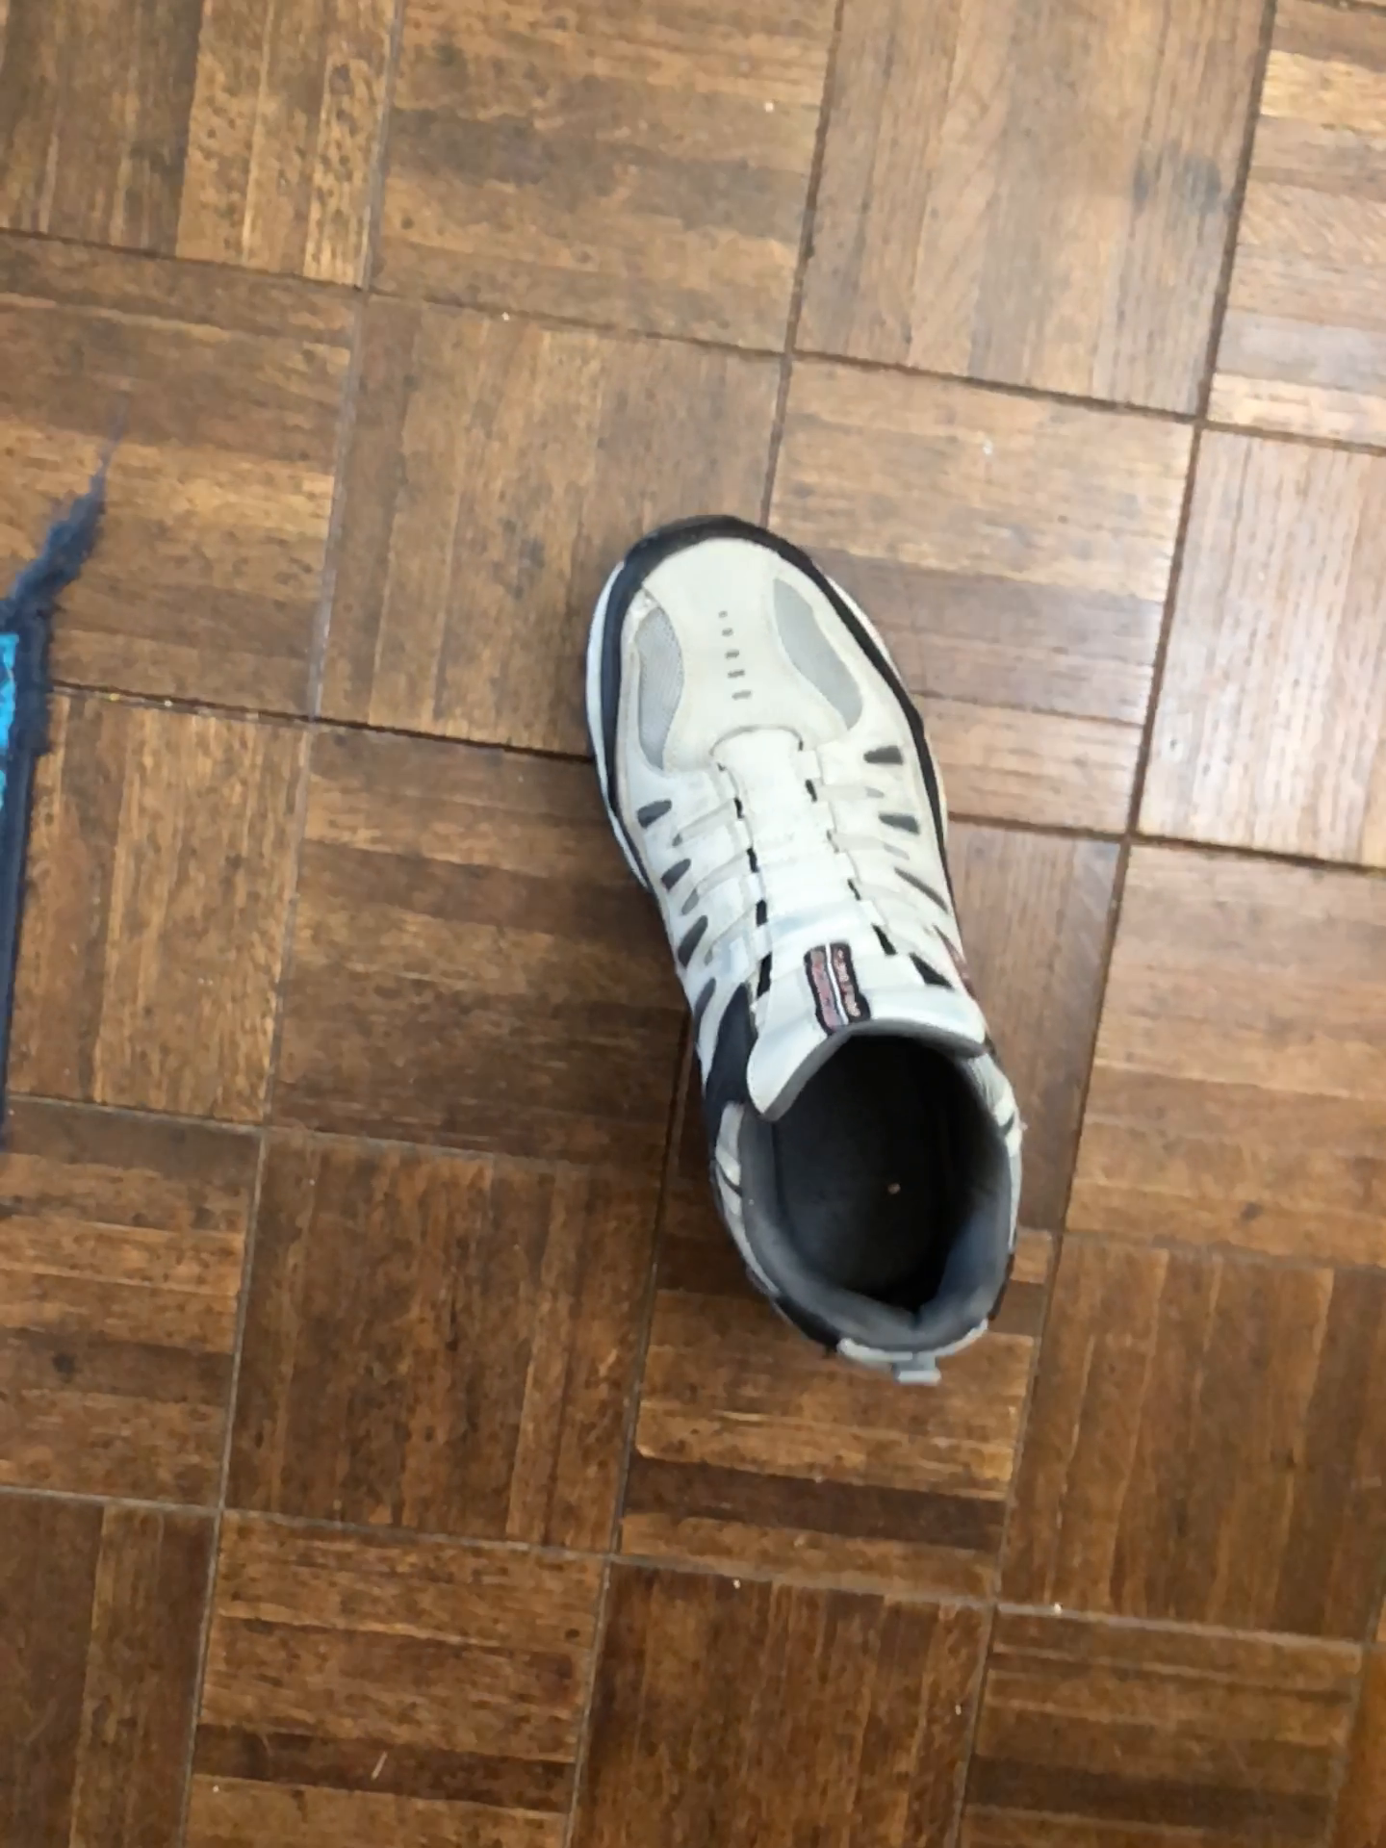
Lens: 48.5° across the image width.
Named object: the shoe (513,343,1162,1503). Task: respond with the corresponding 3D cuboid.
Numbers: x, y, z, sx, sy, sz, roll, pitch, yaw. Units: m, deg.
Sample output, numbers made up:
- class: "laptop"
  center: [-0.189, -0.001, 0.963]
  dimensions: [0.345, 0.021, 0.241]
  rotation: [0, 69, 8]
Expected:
- class: "shoe"
  center: [0.043, -0.001, 0.522]
  dimensions: [0.120, 0.150, 0.320]
  rotation: [-14, 96, -1]
